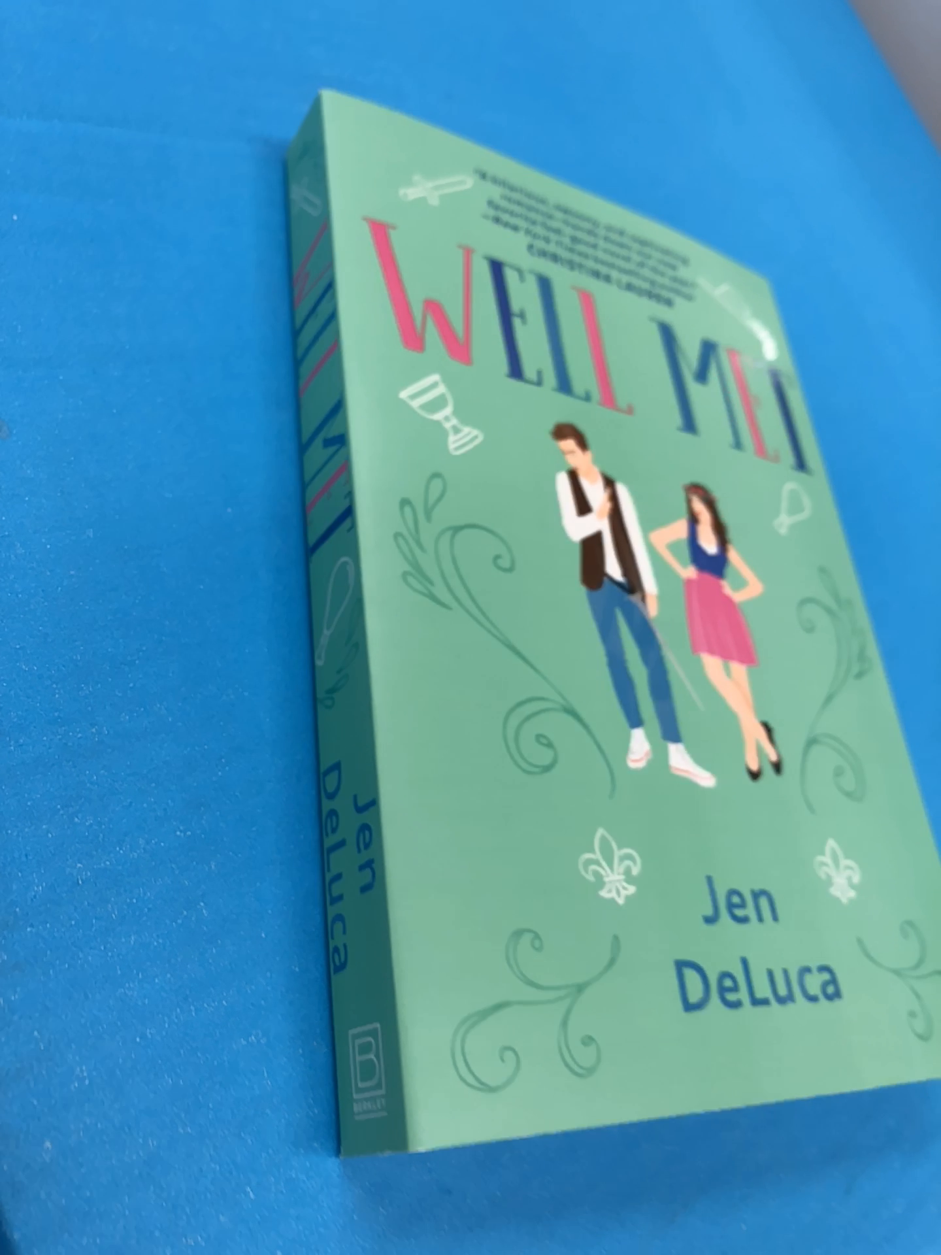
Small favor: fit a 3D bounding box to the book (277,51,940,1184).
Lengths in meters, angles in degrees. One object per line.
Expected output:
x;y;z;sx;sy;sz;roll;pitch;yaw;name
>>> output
0.036;-0.010;0.233;0.146;0.030;0.216;10;60;-33;book
